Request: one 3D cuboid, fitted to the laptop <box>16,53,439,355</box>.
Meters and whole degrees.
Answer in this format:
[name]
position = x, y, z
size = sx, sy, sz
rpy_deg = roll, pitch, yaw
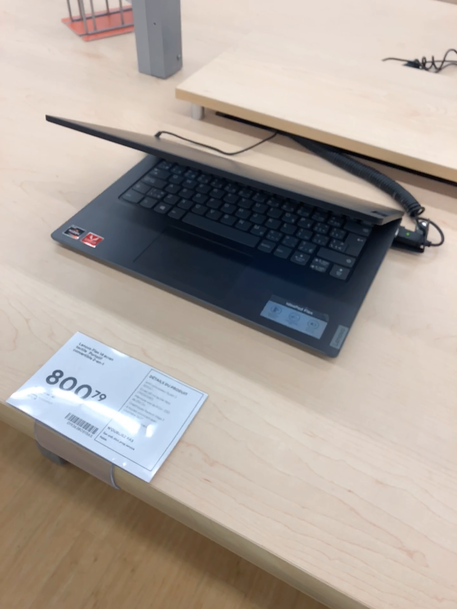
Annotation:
[laptop]
position = 0.005, -0.127, 0.527
size = 0.332, 0.121, 0.229
rpy_deg = 22, 50, 17
